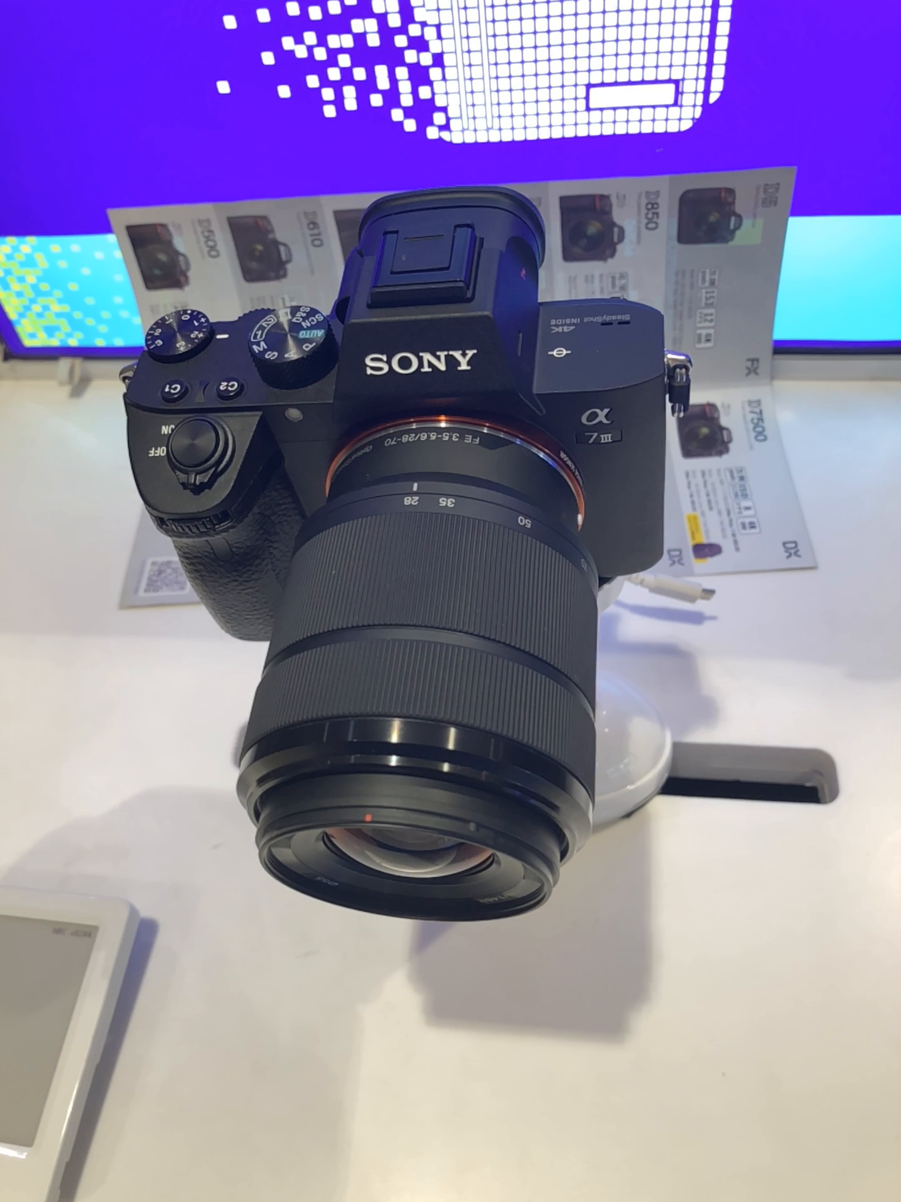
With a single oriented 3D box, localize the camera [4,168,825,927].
[{"bbox_3d":[-0.001,-0.008,0.228,0.120,0.109,0.128,-2,53,5],"label":"camera"}]
